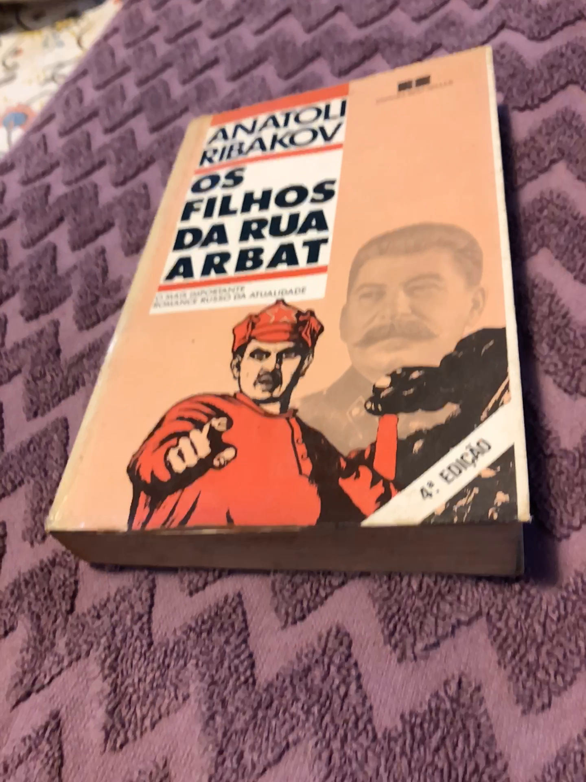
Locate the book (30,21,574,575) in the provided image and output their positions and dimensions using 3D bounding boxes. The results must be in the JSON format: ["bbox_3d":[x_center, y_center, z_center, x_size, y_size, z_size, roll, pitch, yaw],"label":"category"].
[{"bbox_3d":[0.009,-0.038,0.227,0.140,0.040,0.191,-5,57,18],"label":"book"}]
